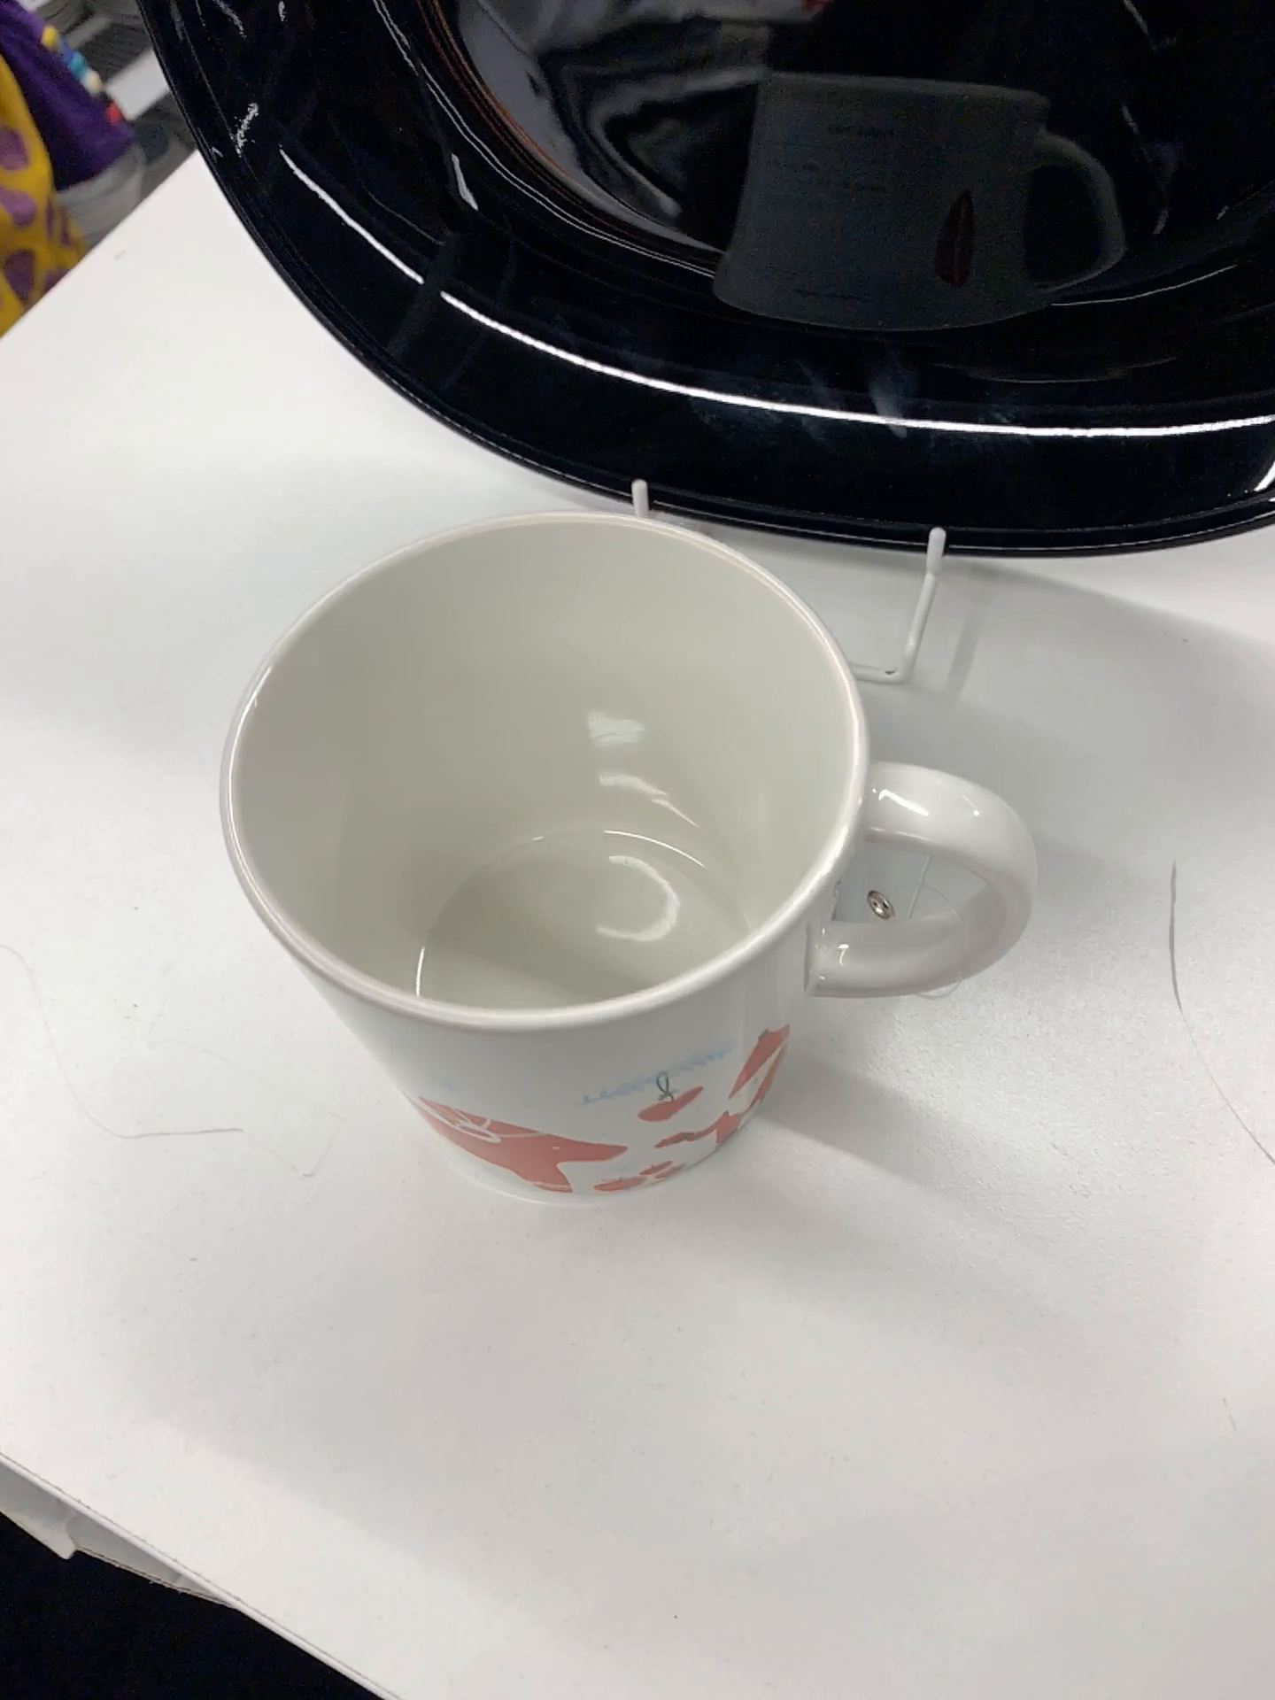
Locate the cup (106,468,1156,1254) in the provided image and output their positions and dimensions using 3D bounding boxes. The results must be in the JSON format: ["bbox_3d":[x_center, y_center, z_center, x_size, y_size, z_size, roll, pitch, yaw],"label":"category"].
[{"bbox_3d":[0.000,0.006,0.213,0.120,0.090,0.090,-1,58,2],"label":"cup"}]
